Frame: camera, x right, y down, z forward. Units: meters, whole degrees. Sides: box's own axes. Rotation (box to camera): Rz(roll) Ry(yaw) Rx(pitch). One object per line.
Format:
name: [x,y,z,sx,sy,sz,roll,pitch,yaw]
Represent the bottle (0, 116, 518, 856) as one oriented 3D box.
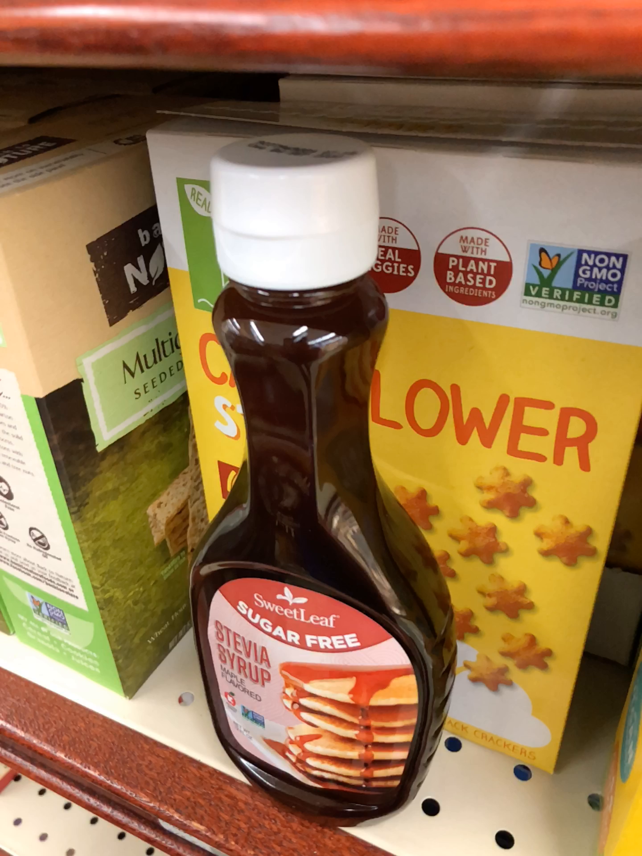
bottle: [-0.008,0.033,0.199,0.092,0.211,0.051,10,37,19]
